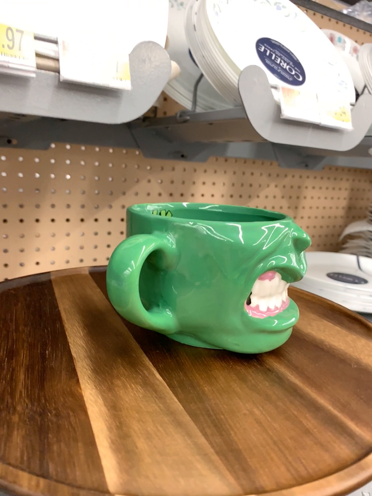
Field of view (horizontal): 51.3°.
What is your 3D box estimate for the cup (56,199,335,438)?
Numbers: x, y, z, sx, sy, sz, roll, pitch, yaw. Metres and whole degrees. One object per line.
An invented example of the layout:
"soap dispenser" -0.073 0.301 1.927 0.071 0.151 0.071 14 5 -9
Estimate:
"cup" 0.013 0.022 0.260 0.130 0.090 0.140 4 12 -1
